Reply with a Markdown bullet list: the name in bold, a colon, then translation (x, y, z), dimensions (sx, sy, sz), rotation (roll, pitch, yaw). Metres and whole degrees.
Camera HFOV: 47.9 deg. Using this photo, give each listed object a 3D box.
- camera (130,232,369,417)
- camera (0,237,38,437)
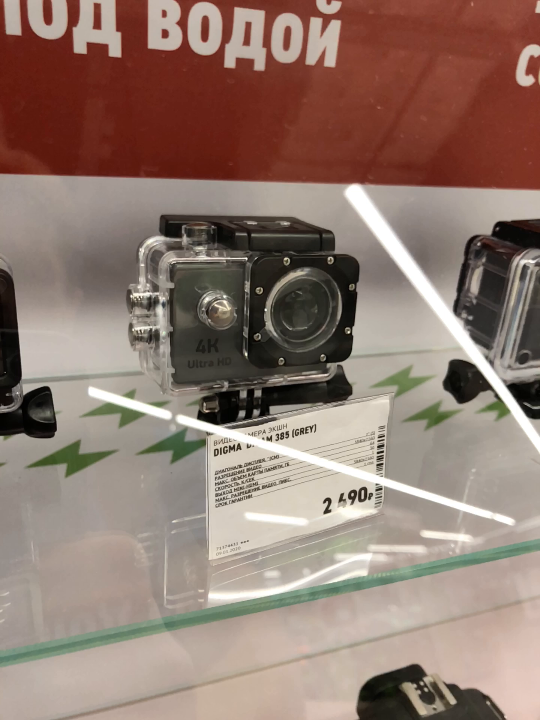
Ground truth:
- **camera**: translation (-0.010, -0.018, 0.234), dimensions (0.077, 0.055, 0.048), rotation (-5, 21, -21)
- **camera**: translation (-0.110, -0.011, 0.180), dimensions (0.072, 0.046, 0.036), rotation (-6, 18, -24)
